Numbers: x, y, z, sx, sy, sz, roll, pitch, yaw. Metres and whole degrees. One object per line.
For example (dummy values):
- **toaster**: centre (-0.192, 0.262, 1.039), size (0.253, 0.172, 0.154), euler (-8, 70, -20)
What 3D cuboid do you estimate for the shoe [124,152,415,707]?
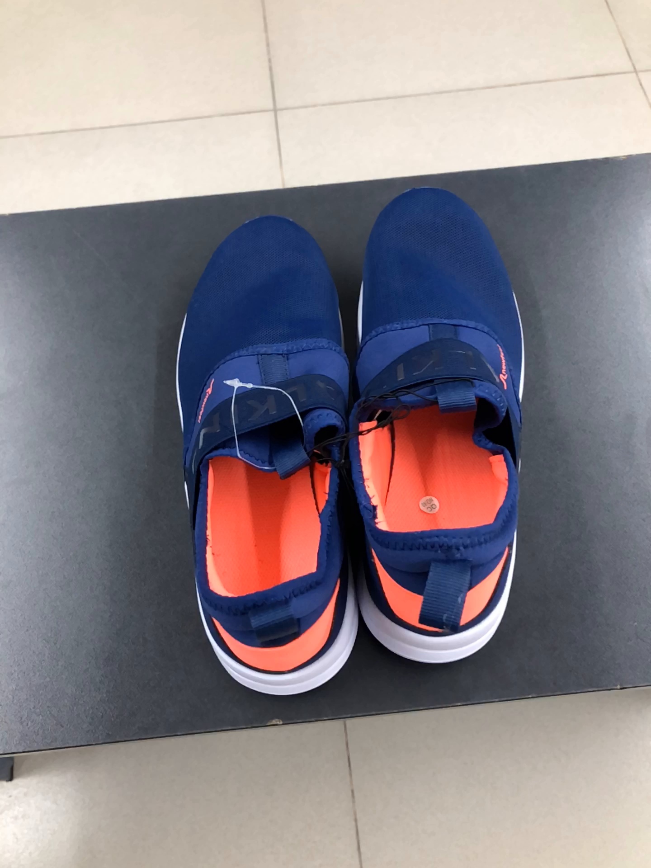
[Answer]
- **shoe**: centre (-0.027, -0.003, 0.381), size (0.110, 0.120, 0.261), euler (-4, 65, 0)

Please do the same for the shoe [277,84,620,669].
- **shoe**: centre (0.051, -0.024, 0.338), size (0.110, 0.120, 0.241), euler (-1, 65, 8)
